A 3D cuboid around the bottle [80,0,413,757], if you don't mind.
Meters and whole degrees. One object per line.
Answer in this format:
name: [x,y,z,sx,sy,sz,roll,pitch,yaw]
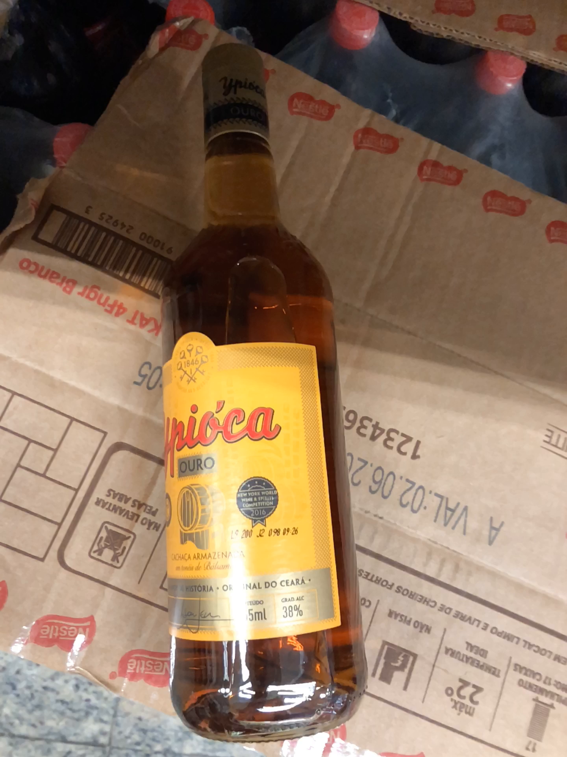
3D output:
bottle: [-0.022,-0.025,0.268,0.090,0.080,0.310,9,72,-48]
